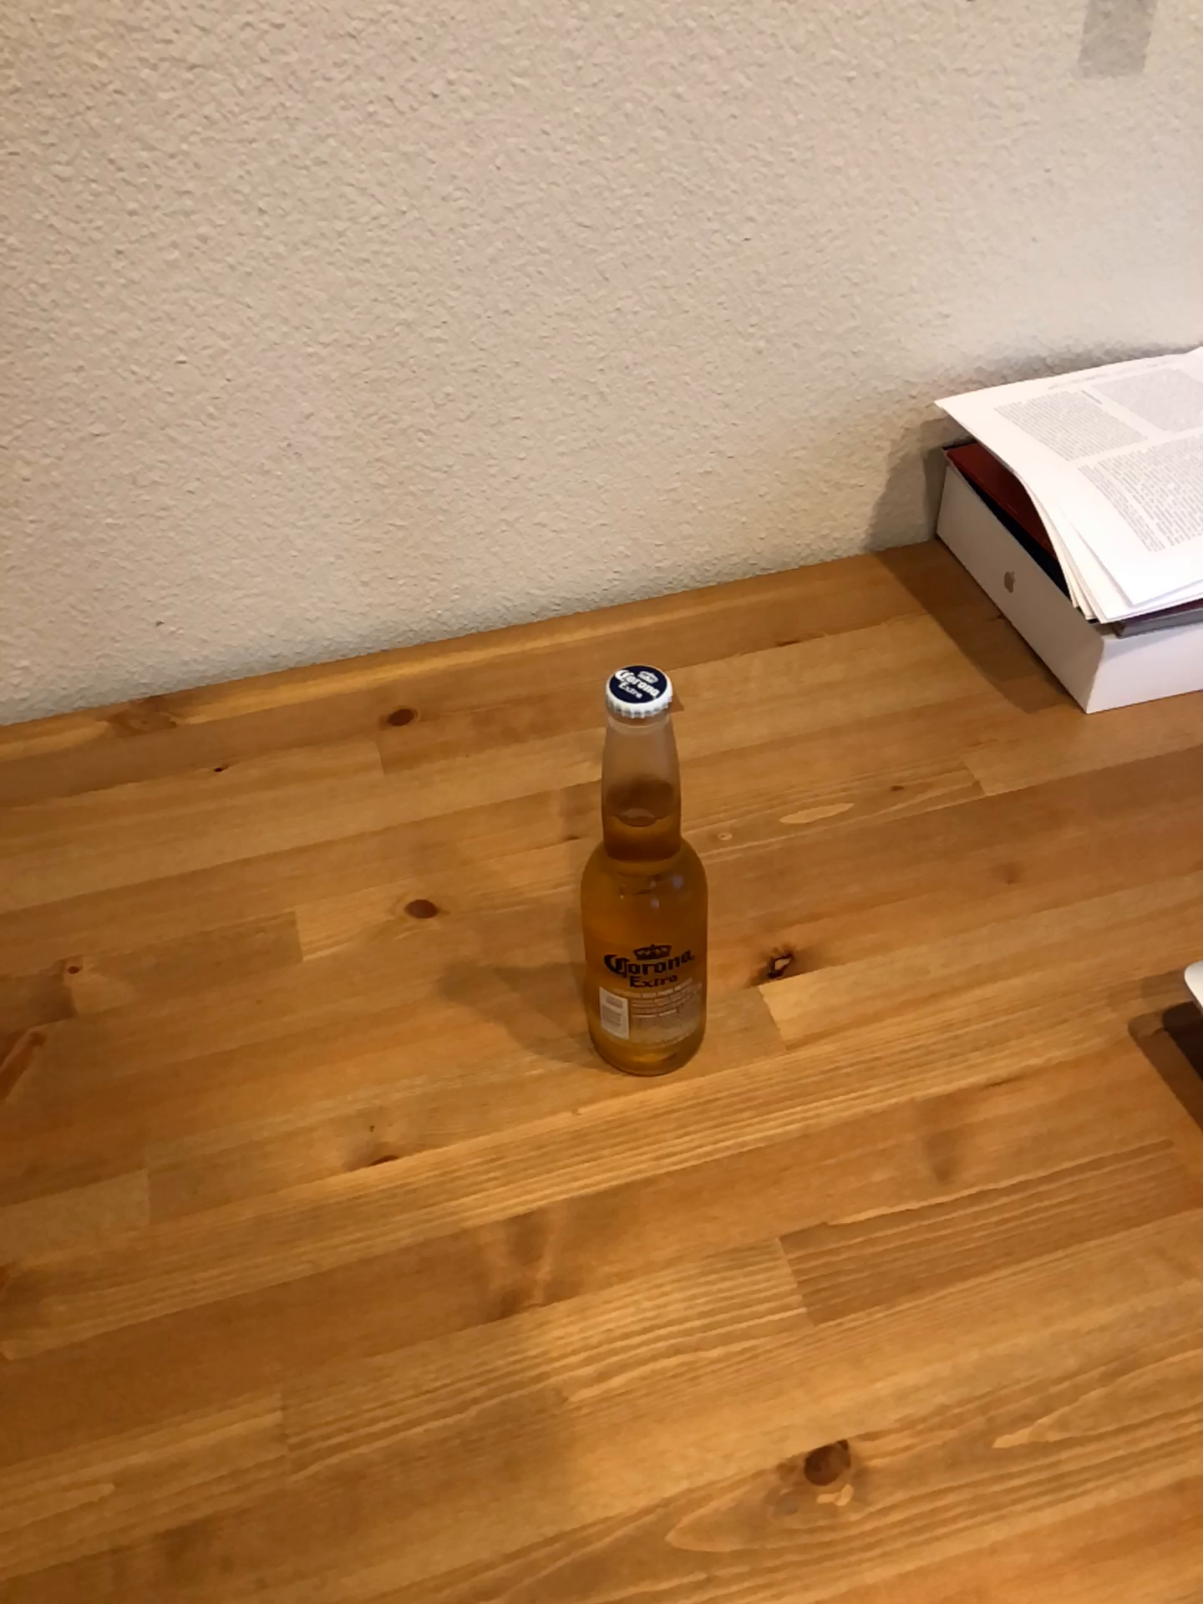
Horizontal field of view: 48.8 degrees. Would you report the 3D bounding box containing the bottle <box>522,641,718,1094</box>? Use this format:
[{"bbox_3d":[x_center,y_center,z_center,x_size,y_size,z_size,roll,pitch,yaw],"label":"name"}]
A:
[{"bbox_3d":[0.014,0.039,0.633,0.070,0.229,0.070,-2,44,2],"label":"bottle"}]
